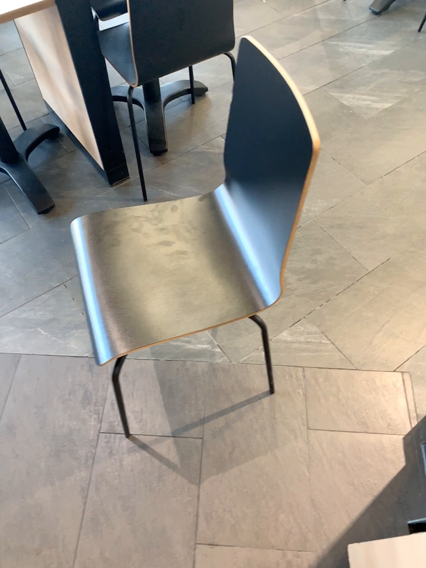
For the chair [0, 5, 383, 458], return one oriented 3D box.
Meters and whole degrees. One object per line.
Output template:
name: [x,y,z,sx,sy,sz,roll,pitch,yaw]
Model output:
chair: [-0.106,-0.028,0.998,0.520,0.838,0.521,-14,58,-9]
